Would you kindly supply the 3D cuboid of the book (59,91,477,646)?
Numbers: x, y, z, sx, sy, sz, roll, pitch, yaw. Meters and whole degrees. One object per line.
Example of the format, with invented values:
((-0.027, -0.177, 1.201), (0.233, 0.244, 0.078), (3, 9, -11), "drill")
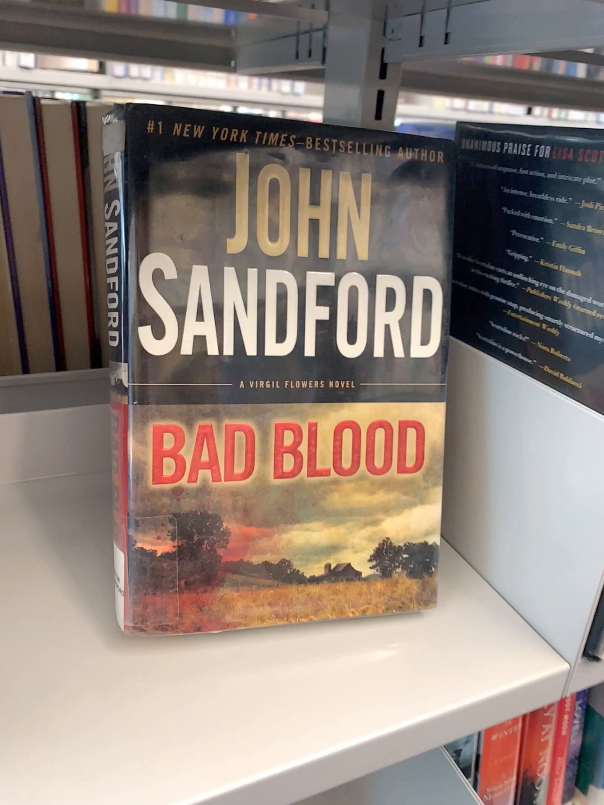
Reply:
((-0.014, -0.012, 0.285), (0.165, 0.215, 0.050), (-2, 10, -14), "book")
